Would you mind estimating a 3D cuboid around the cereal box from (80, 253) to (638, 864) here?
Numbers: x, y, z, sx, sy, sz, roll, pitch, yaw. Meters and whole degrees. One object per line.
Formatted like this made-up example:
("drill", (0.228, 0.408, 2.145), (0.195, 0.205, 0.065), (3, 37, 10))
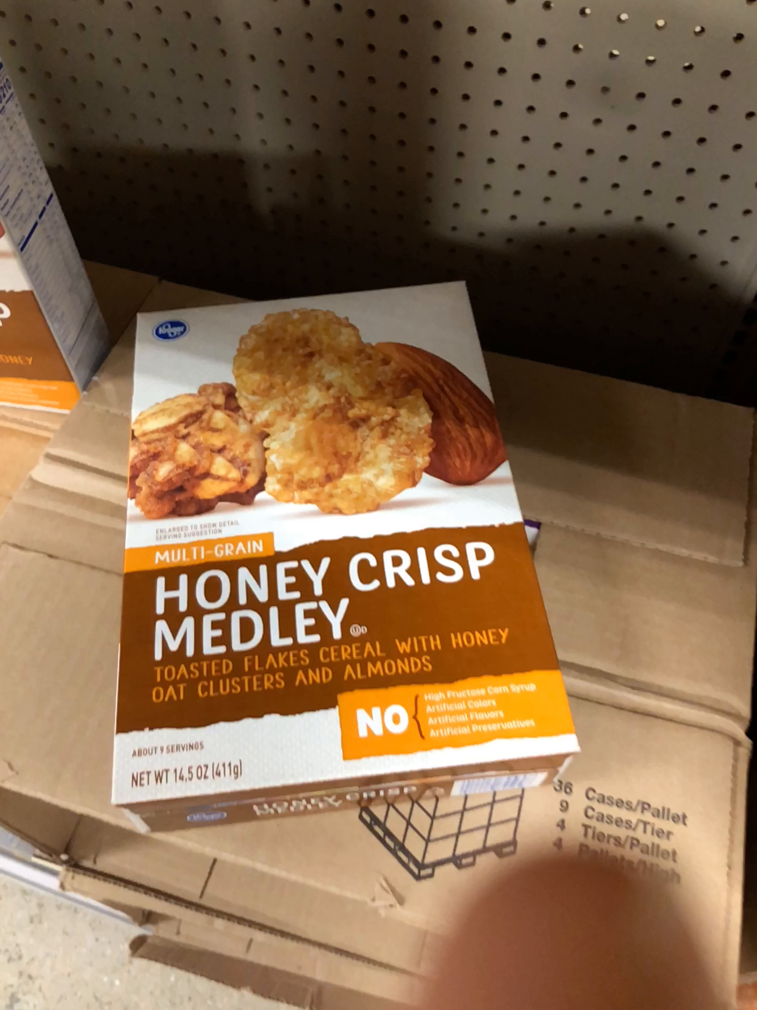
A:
("cereal box", (-0.022, 0.006, 0.396), (0.200, 0.060, 0.270), (-6, 58, -4))
